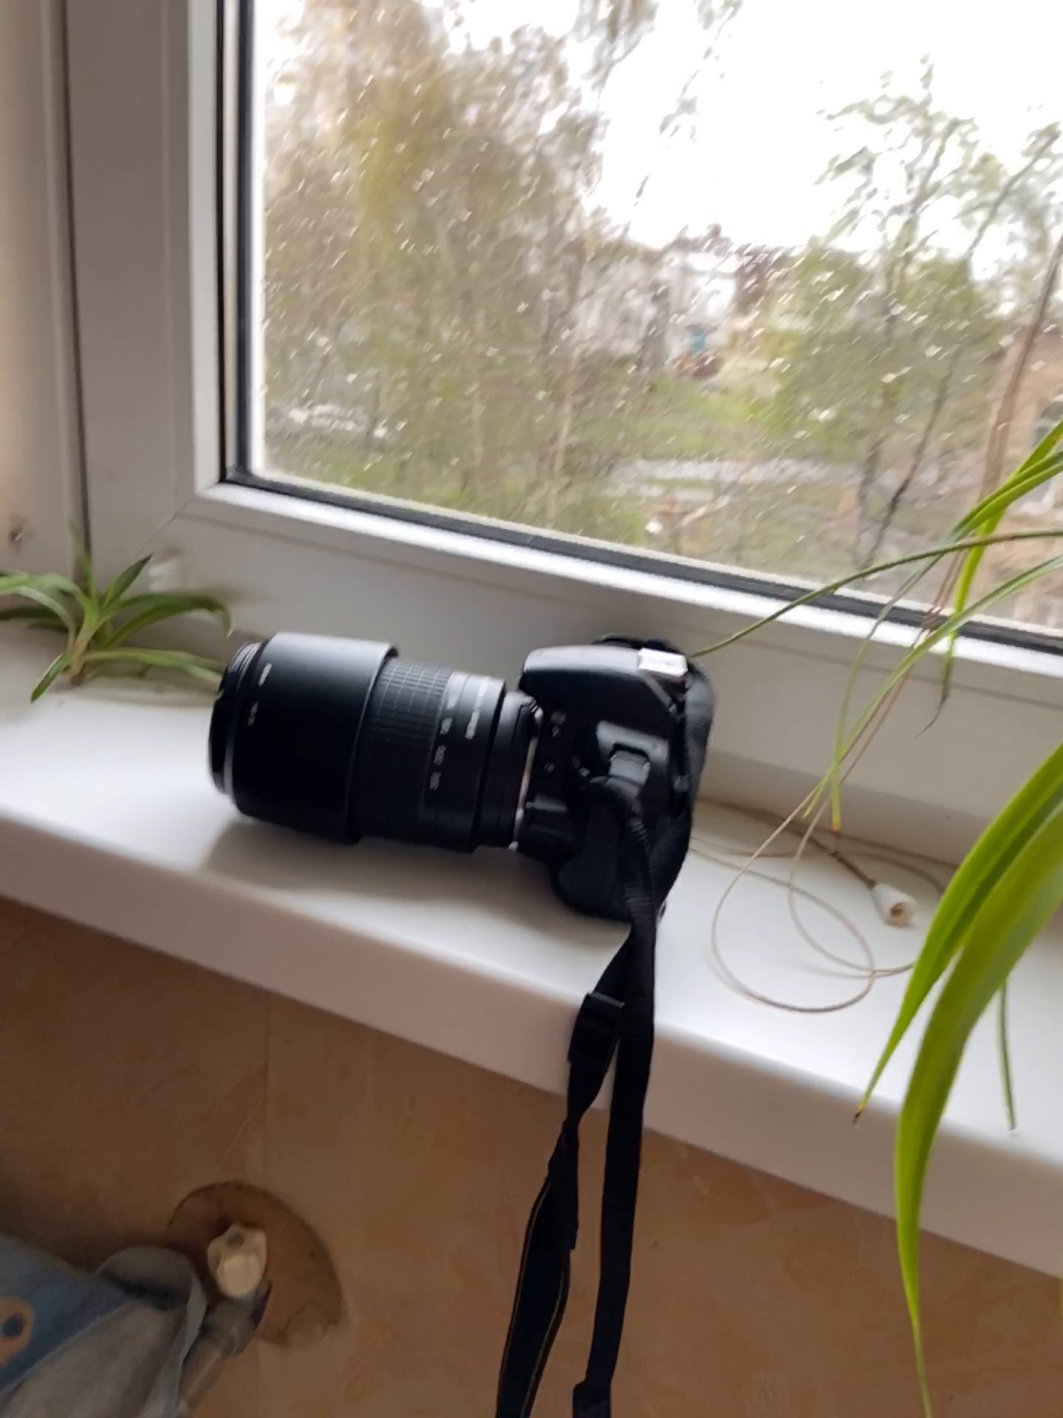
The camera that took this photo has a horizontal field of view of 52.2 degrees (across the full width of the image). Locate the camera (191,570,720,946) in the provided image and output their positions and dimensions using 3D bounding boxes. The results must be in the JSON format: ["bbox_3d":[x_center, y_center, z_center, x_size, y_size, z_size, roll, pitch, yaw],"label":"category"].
[{"bbox_3d":[-0.028,0.013,0.459,0.190,0.089,0.126,8,23,2],"label":"camera"}]
